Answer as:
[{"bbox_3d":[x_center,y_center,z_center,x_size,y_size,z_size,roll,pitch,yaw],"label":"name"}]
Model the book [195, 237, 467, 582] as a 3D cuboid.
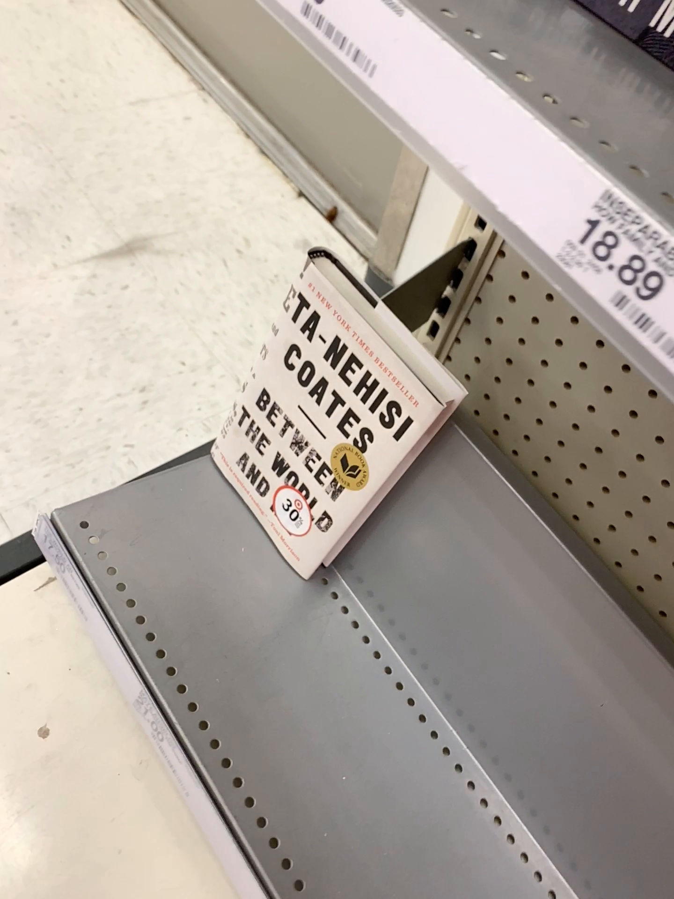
[{"bbox_3d":[-0.017,-0.019,0.454,0.030,0.187,0.129,-20,63,-45],"label":"book"}]
